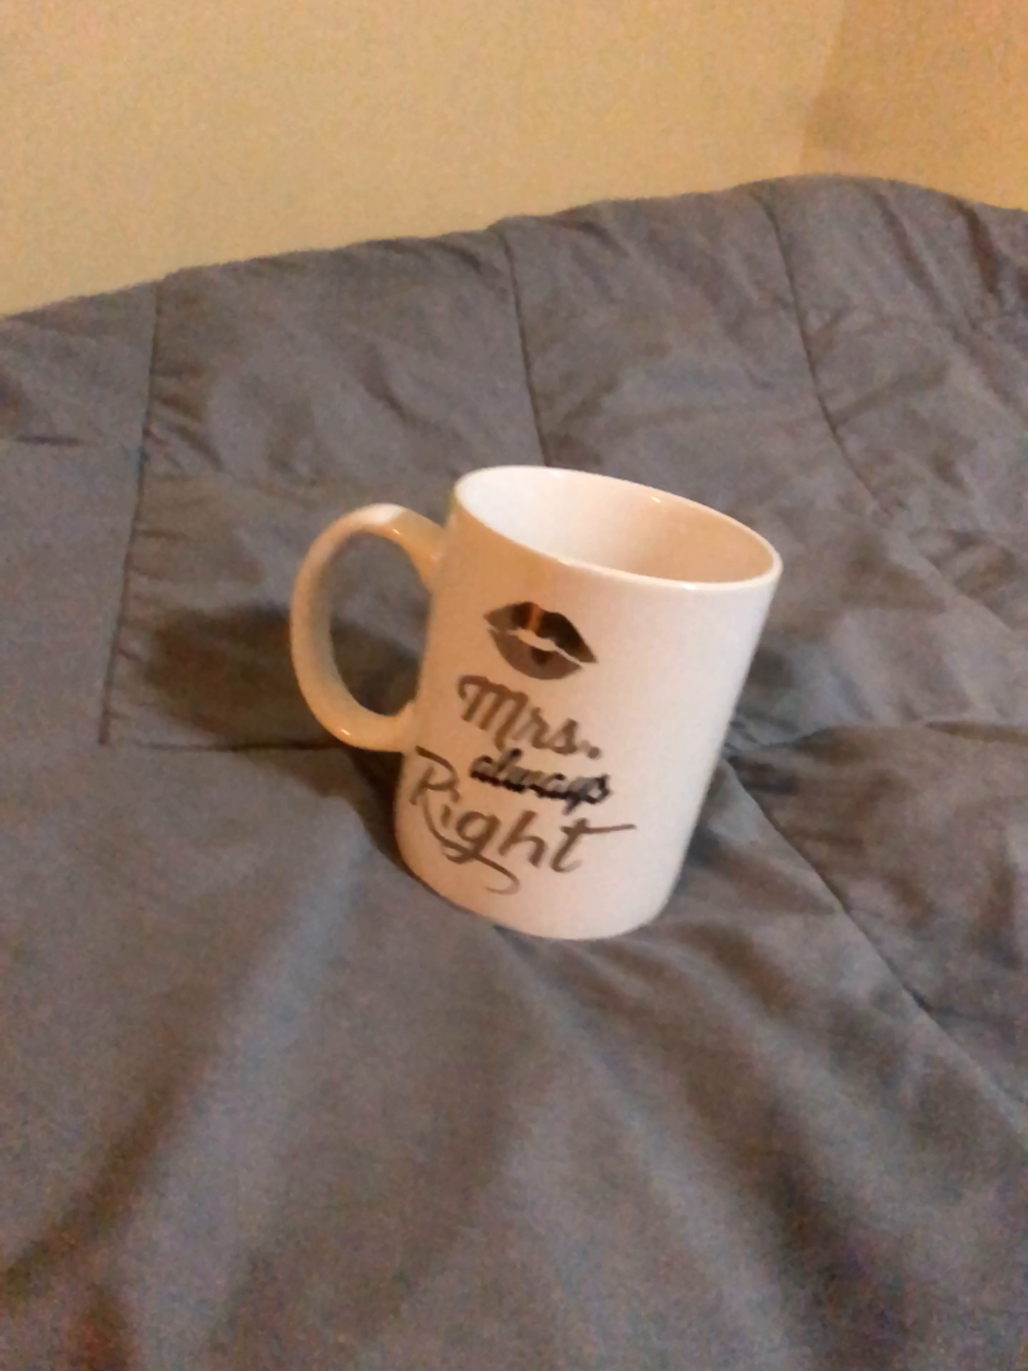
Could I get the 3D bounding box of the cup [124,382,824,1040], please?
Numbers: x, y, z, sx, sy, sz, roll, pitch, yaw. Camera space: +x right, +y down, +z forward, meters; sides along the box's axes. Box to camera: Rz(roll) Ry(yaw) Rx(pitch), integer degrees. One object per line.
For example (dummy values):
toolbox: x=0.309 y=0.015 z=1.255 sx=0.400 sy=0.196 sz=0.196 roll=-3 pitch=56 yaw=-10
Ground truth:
cup: x=-0.010 y=-0.005 z=0.324 sx=0.150 sy=0.110 sz=0.110 roll=20 pitch=27 yaw=15
